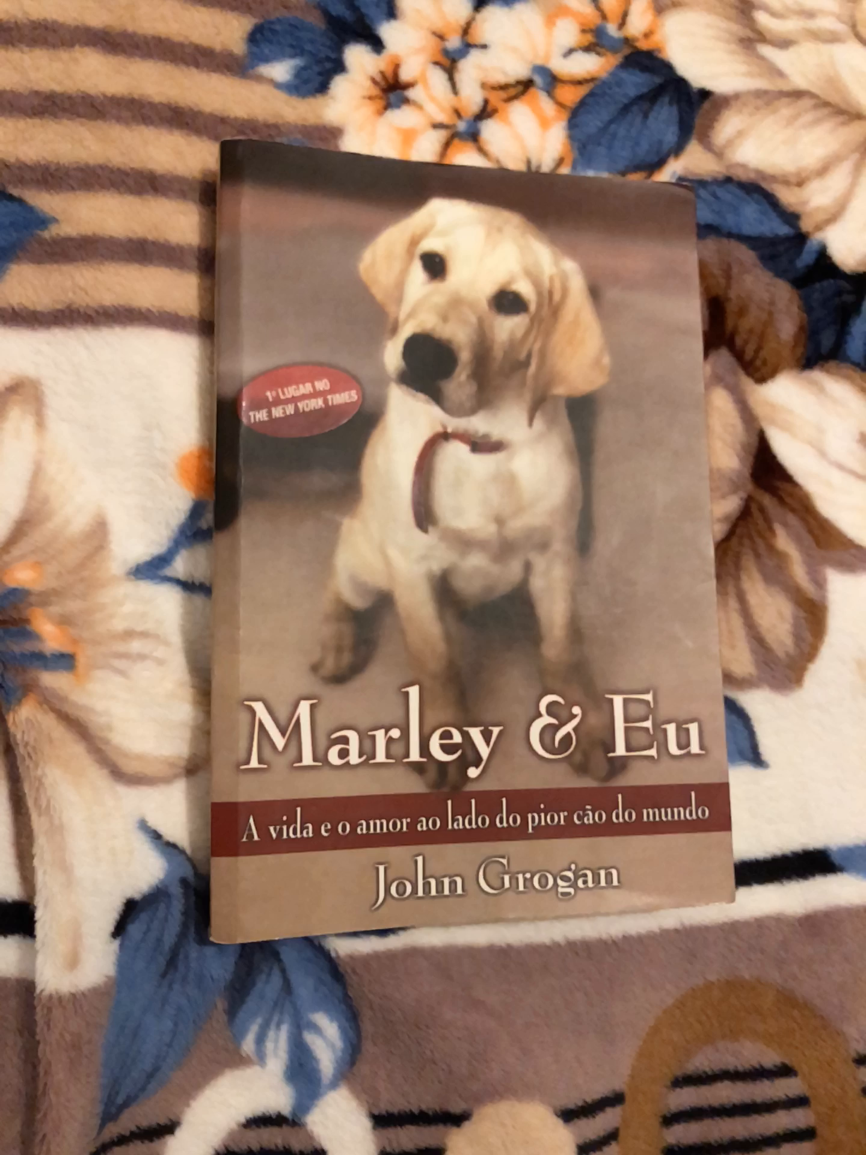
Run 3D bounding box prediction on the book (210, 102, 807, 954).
[{"bbox_3d":[0.019,-0.017,0.296,0.170,0.040,0.230,0,83,-14],"label":"book"}]
